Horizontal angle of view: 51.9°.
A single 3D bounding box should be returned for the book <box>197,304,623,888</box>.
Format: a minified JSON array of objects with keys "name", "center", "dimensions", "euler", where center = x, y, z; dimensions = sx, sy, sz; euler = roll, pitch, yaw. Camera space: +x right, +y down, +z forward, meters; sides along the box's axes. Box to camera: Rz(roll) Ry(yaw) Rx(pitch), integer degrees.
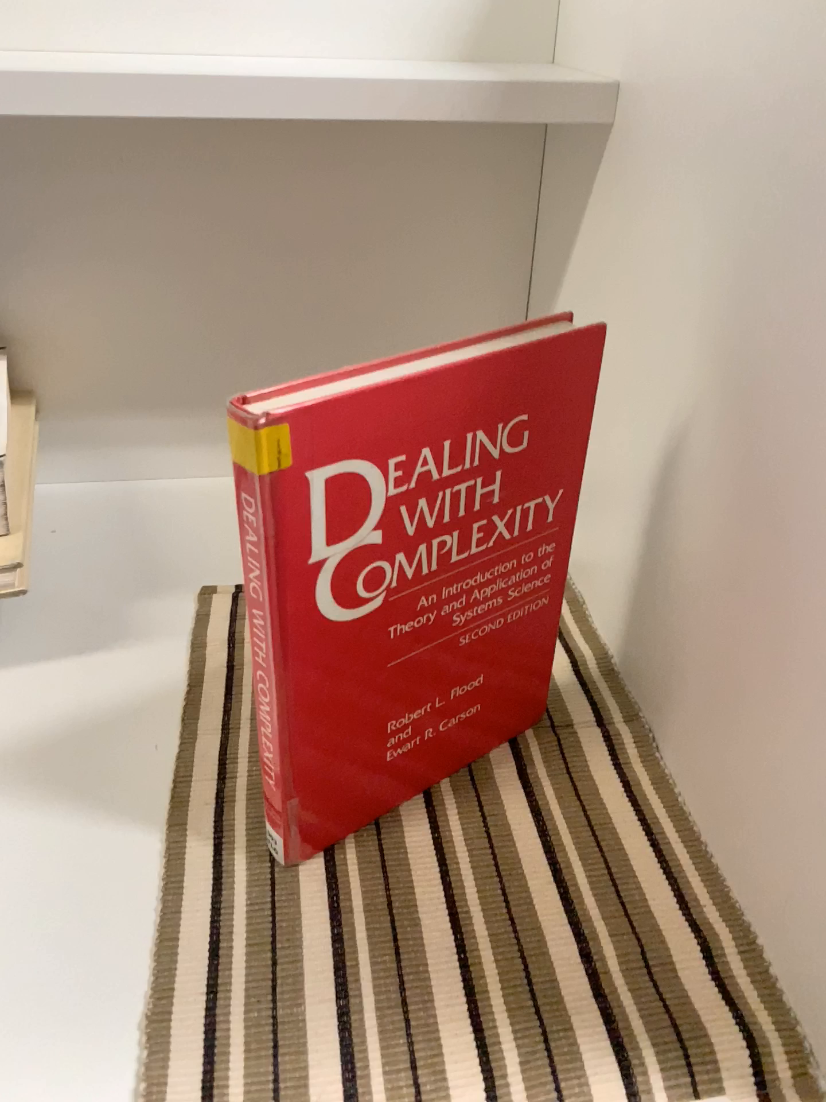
[{"name":"book","center":[0.005,0.023,0.417],"dimensions":[0.201,0.250,0.030],"euler":[-22,40,-33]}]
